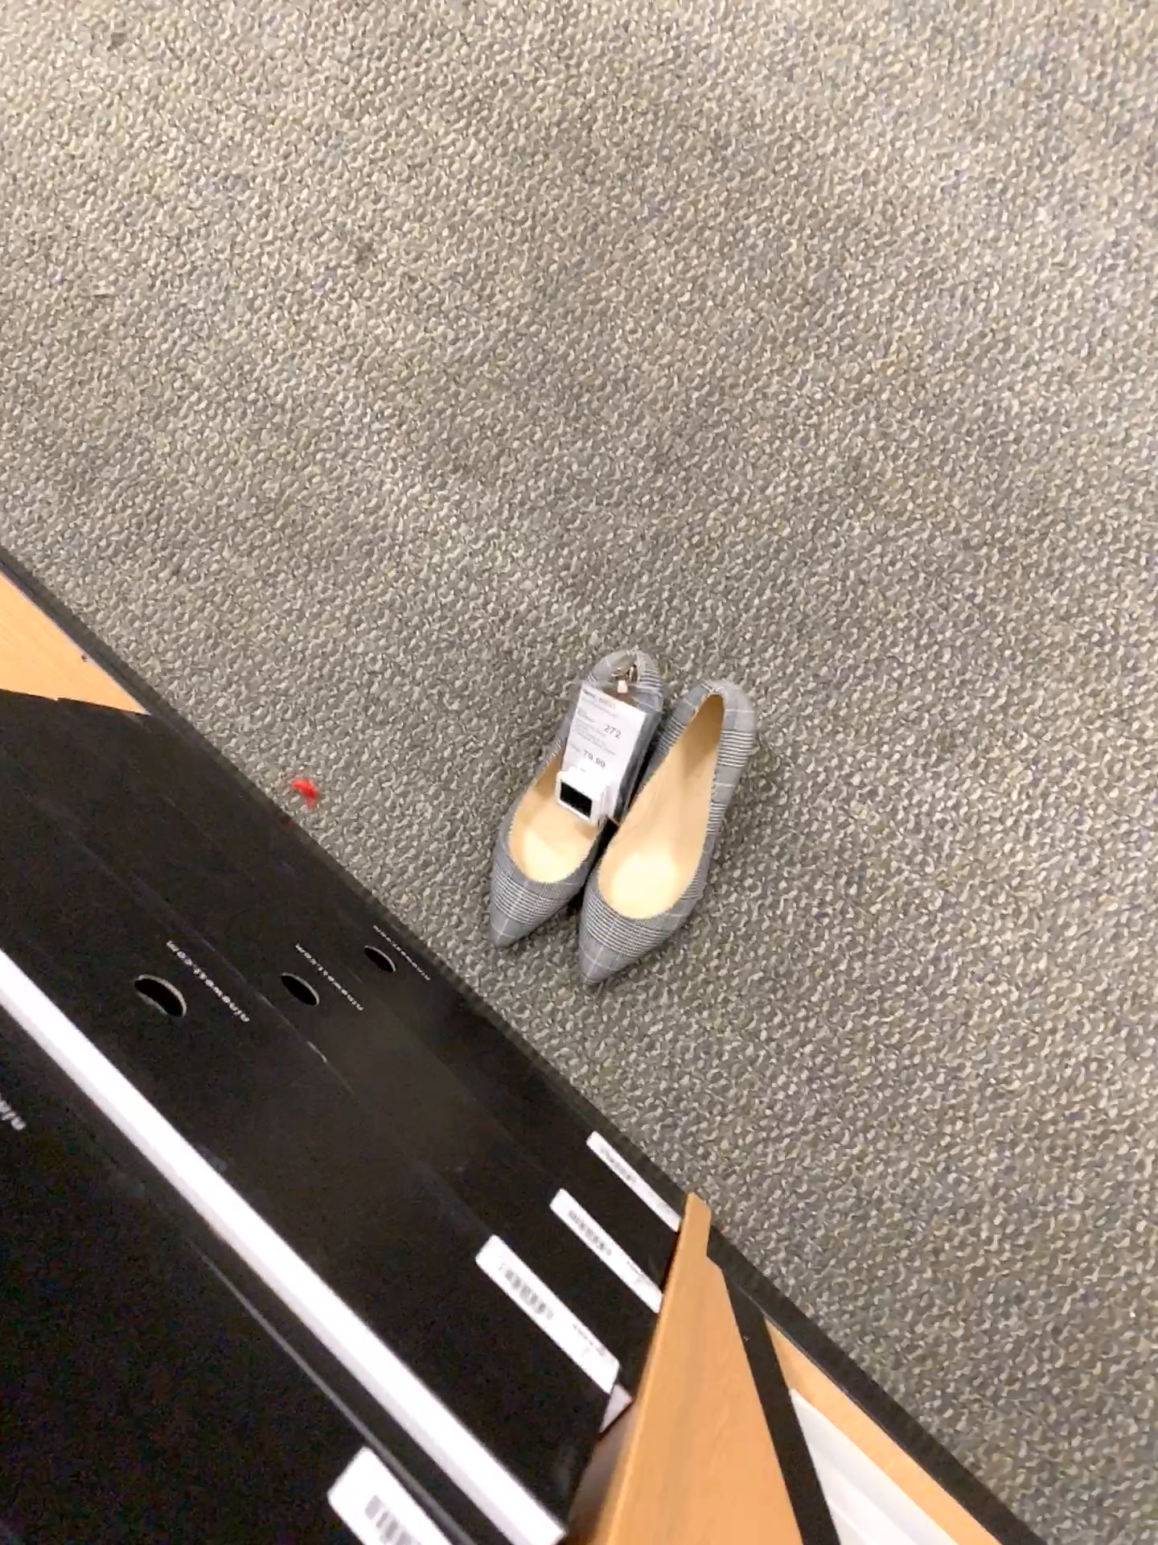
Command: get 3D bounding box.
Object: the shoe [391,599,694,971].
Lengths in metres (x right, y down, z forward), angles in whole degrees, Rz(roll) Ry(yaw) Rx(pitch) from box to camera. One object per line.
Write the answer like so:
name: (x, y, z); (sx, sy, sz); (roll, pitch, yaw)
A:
shoe: (-0.018, 0.013, 0.849); (0.090, 0.150, 0.230); (29, 90, 11)

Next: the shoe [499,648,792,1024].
shoe: (0.054, 0.047, 0.842); (0.090, 0.150, 0.230); (29, 90, 11)
